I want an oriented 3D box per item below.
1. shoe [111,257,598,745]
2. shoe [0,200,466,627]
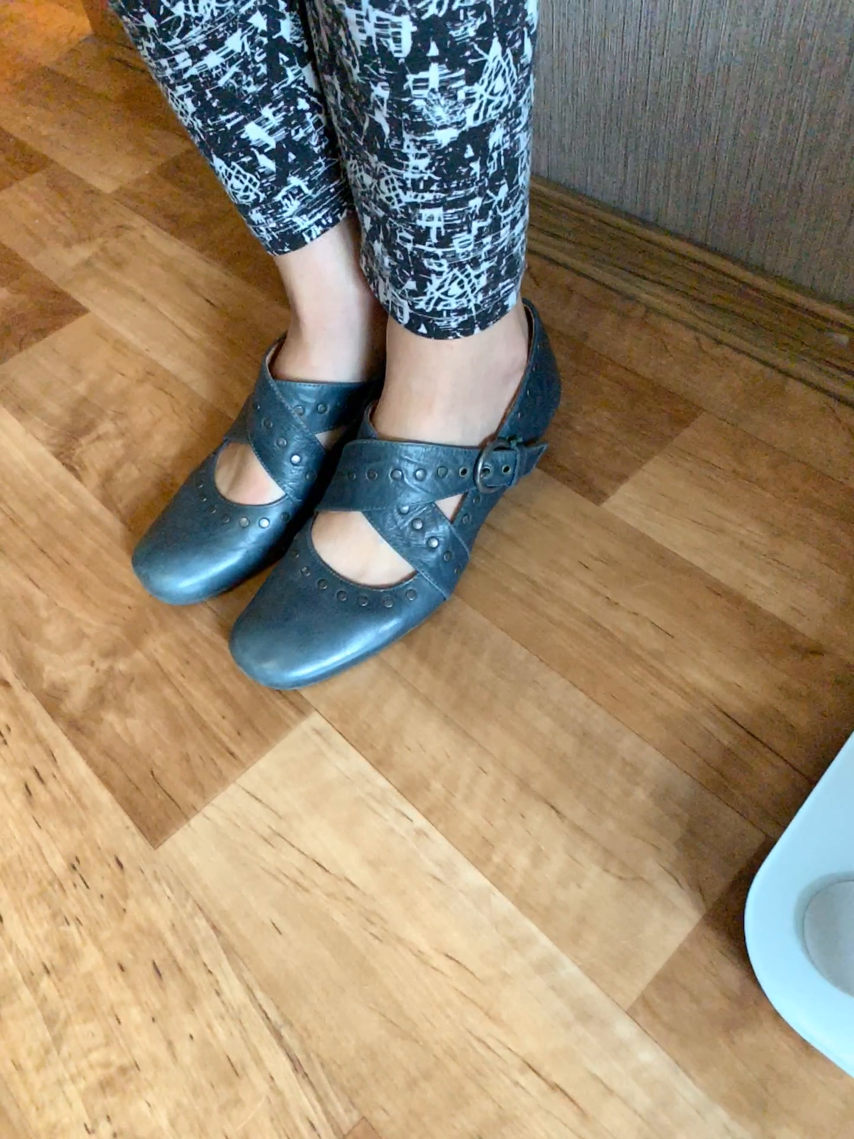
[{"bbox_3d":[-0.022,-0.045,0.463,0.090,0.100,0.250,32,63,27],"label":"shoe"},{"bbox_3d":[-0.097,-0.095,0.497,0.240,0.100,0.090,-40,58,-21],"label":"shoe"}]
